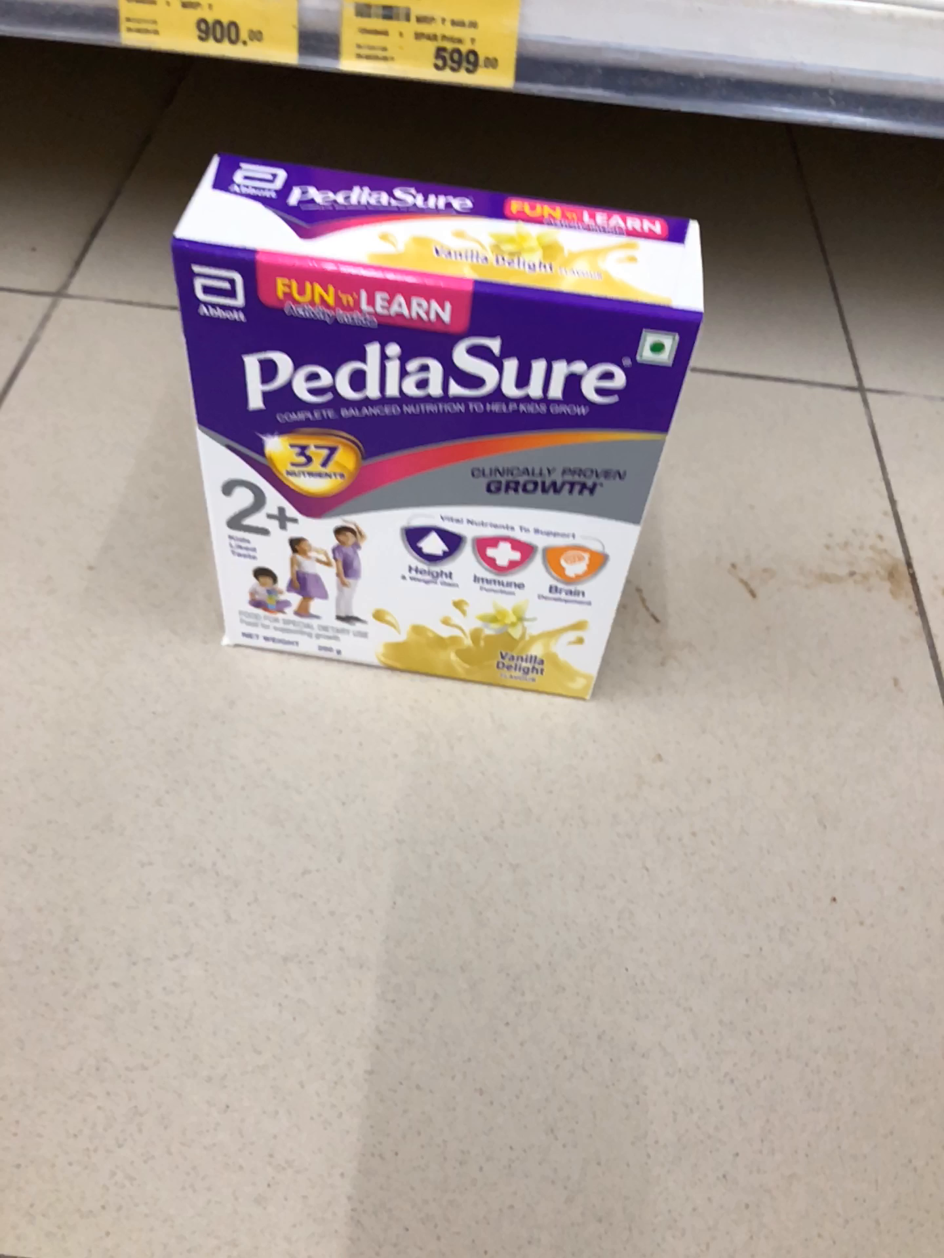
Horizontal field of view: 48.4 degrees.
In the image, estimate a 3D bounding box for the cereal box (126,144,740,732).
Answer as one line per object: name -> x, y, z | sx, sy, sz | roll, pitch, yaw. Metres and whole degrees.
cereal box -> -0.013, -0.045, 0.314 | 0.140, 0.159, 0.050 | 9, 50, 1
